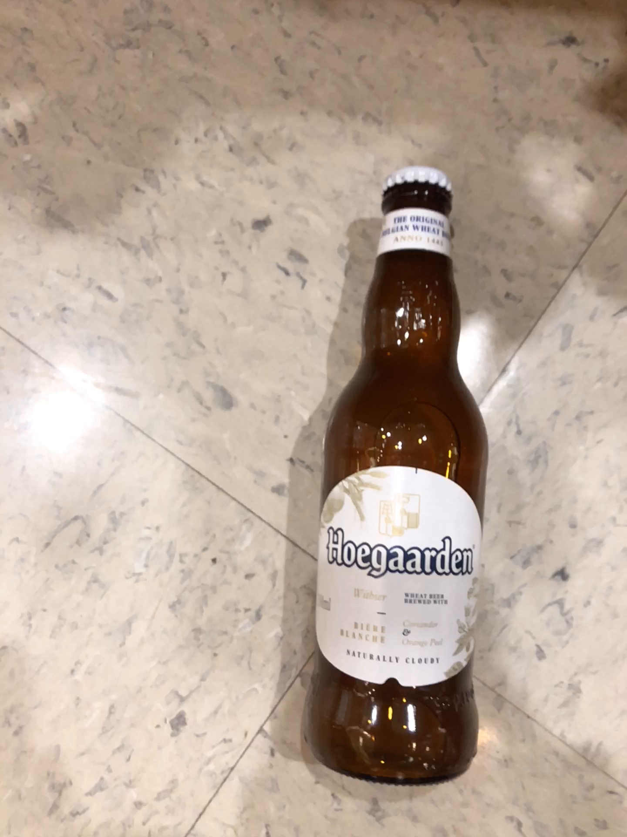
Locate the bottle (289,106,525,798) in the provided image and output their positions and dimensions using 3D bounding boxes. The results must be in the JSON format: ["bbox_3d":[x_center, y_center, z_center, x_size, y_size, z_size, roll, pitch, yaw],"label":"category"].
[{"bbox_3d":[0.034,0.008,0.262,0.070,0.050,0.230,4,83,-4],"label":"bottle"}]
